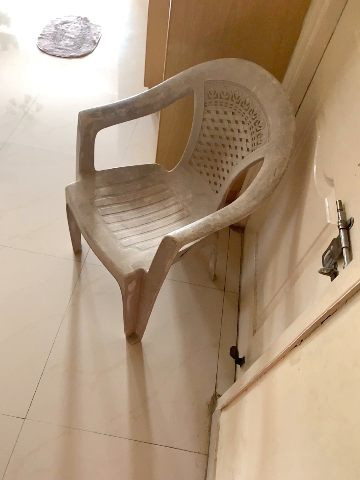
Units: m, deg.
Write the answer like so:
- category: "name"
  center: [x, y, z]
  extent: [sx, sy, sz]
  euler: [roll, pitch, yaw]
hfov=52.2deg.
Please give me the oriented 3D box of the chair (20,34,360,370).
- category: "chair"
  center: [-0.013, -0.118, 1.215]
  extent: [0.672, 0.725, 0.613]
  euler: [-23, 61, -23]
